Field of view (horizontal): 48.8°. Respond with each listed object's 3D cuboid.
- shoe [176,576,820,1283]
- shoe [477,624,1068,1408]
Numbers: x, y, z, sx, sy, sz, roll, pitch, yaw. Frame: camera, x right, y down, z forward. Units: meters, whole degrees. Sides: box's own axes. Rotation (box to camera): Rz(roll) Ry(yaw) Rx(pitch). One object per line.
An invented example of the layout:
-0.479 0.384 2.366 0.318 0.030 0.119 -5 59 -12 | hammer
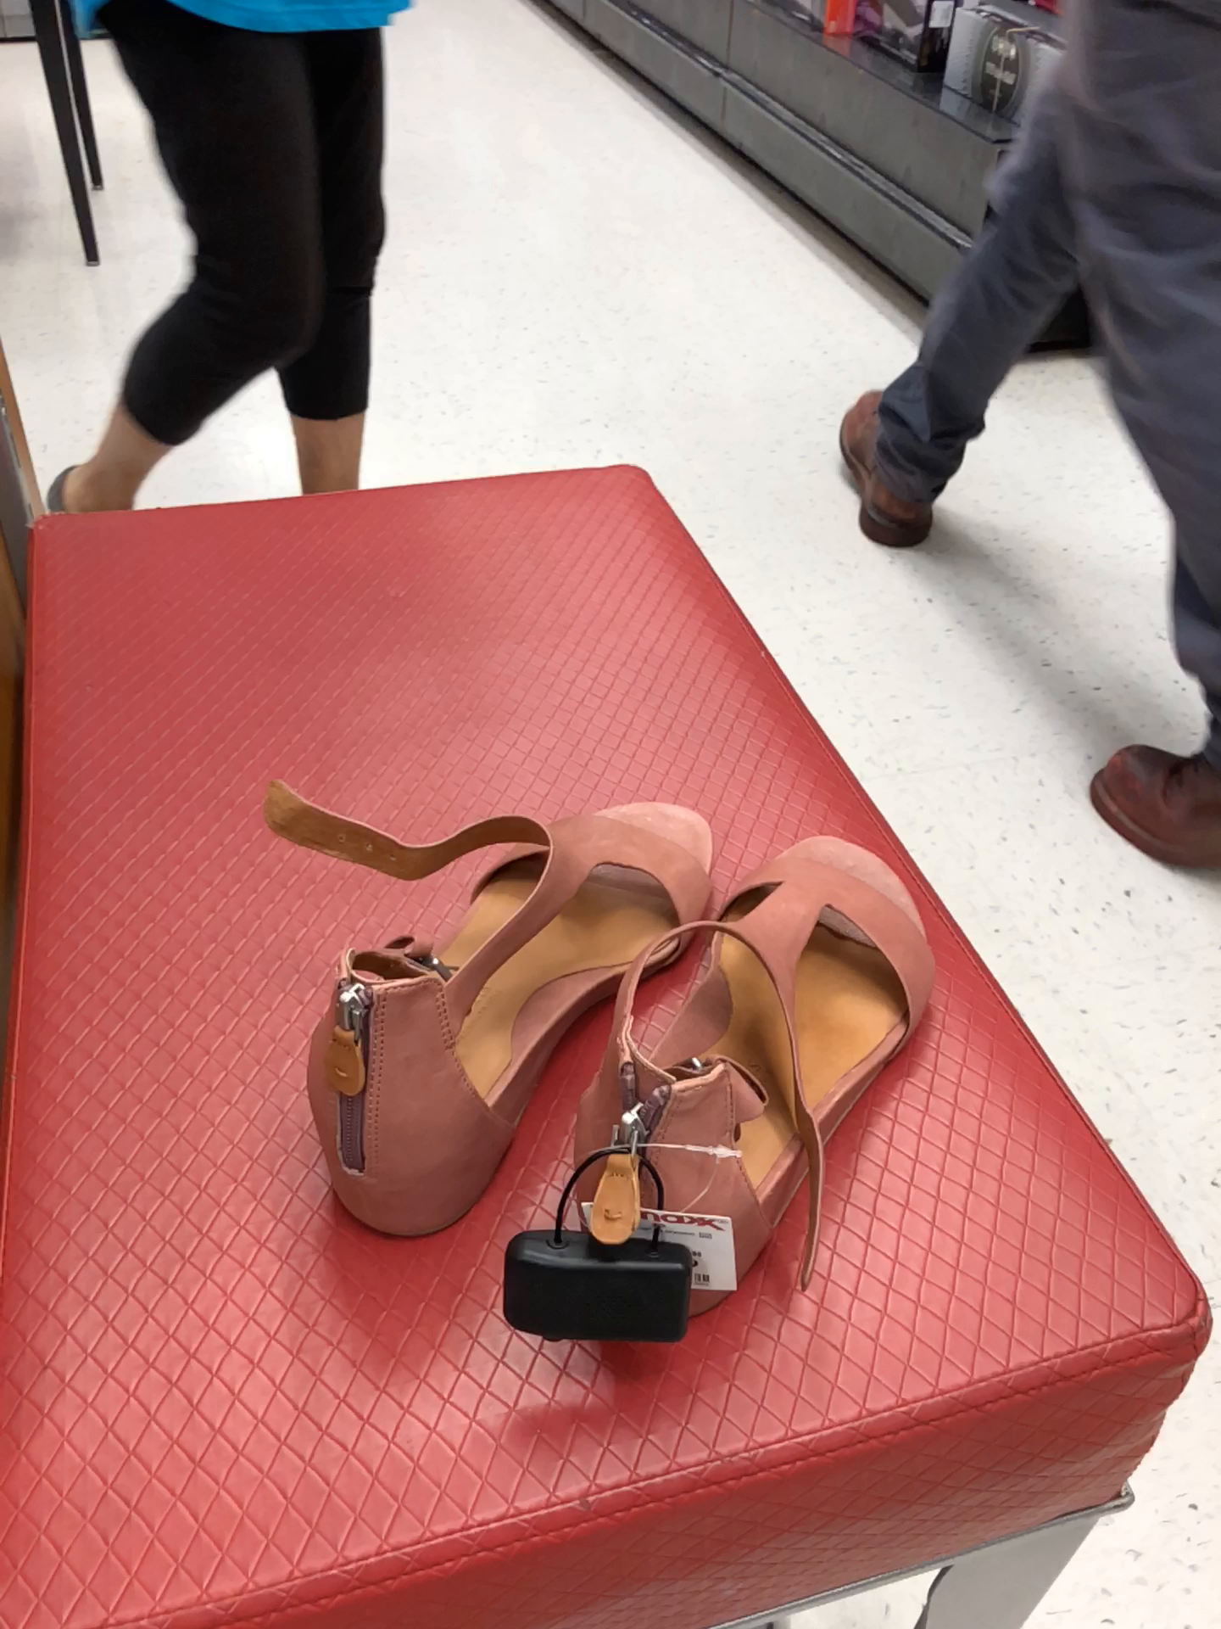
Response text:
-0.027 0.025 0.526 0.106 0.116 0.261 22 42 21 | shoe
0.068 0.055 0.503 0.103 0.126 0.264 22 42 21 | shoe
